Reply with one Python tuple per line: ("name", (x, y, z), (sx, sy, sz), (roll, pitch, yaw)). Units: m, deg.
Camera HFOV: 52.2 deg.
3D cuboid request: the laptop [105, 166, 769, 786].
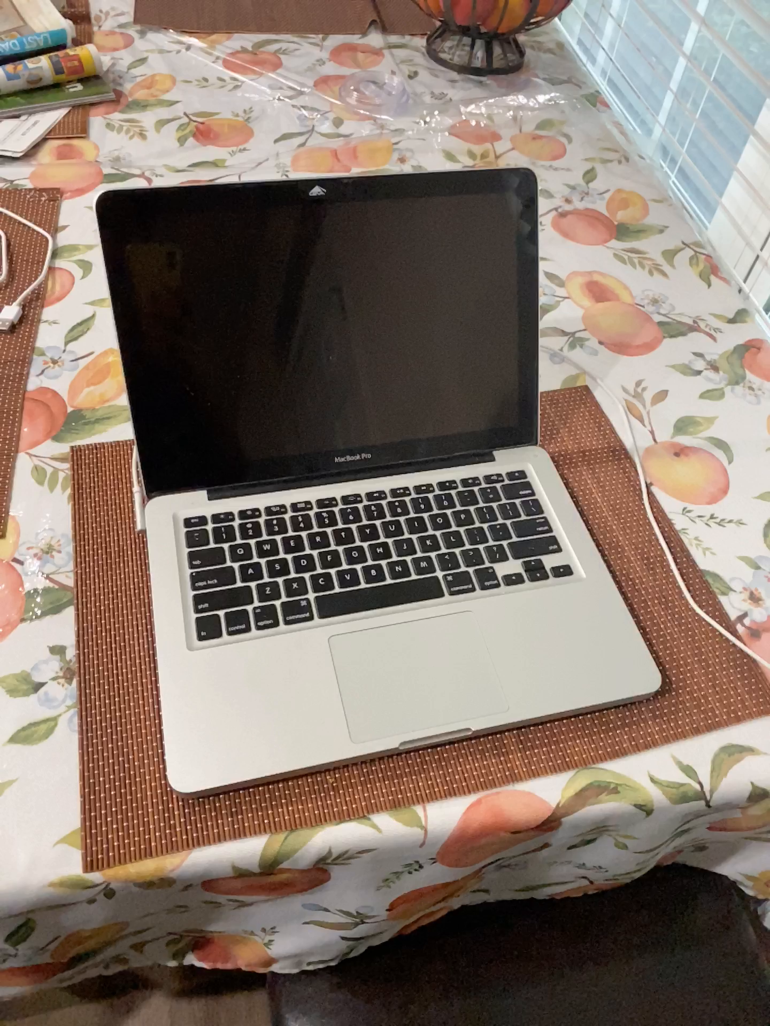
("laptop", (0.000, -0.052, 0.526), (0.317, 0.162, 0.349), (-9, 54, -12))
